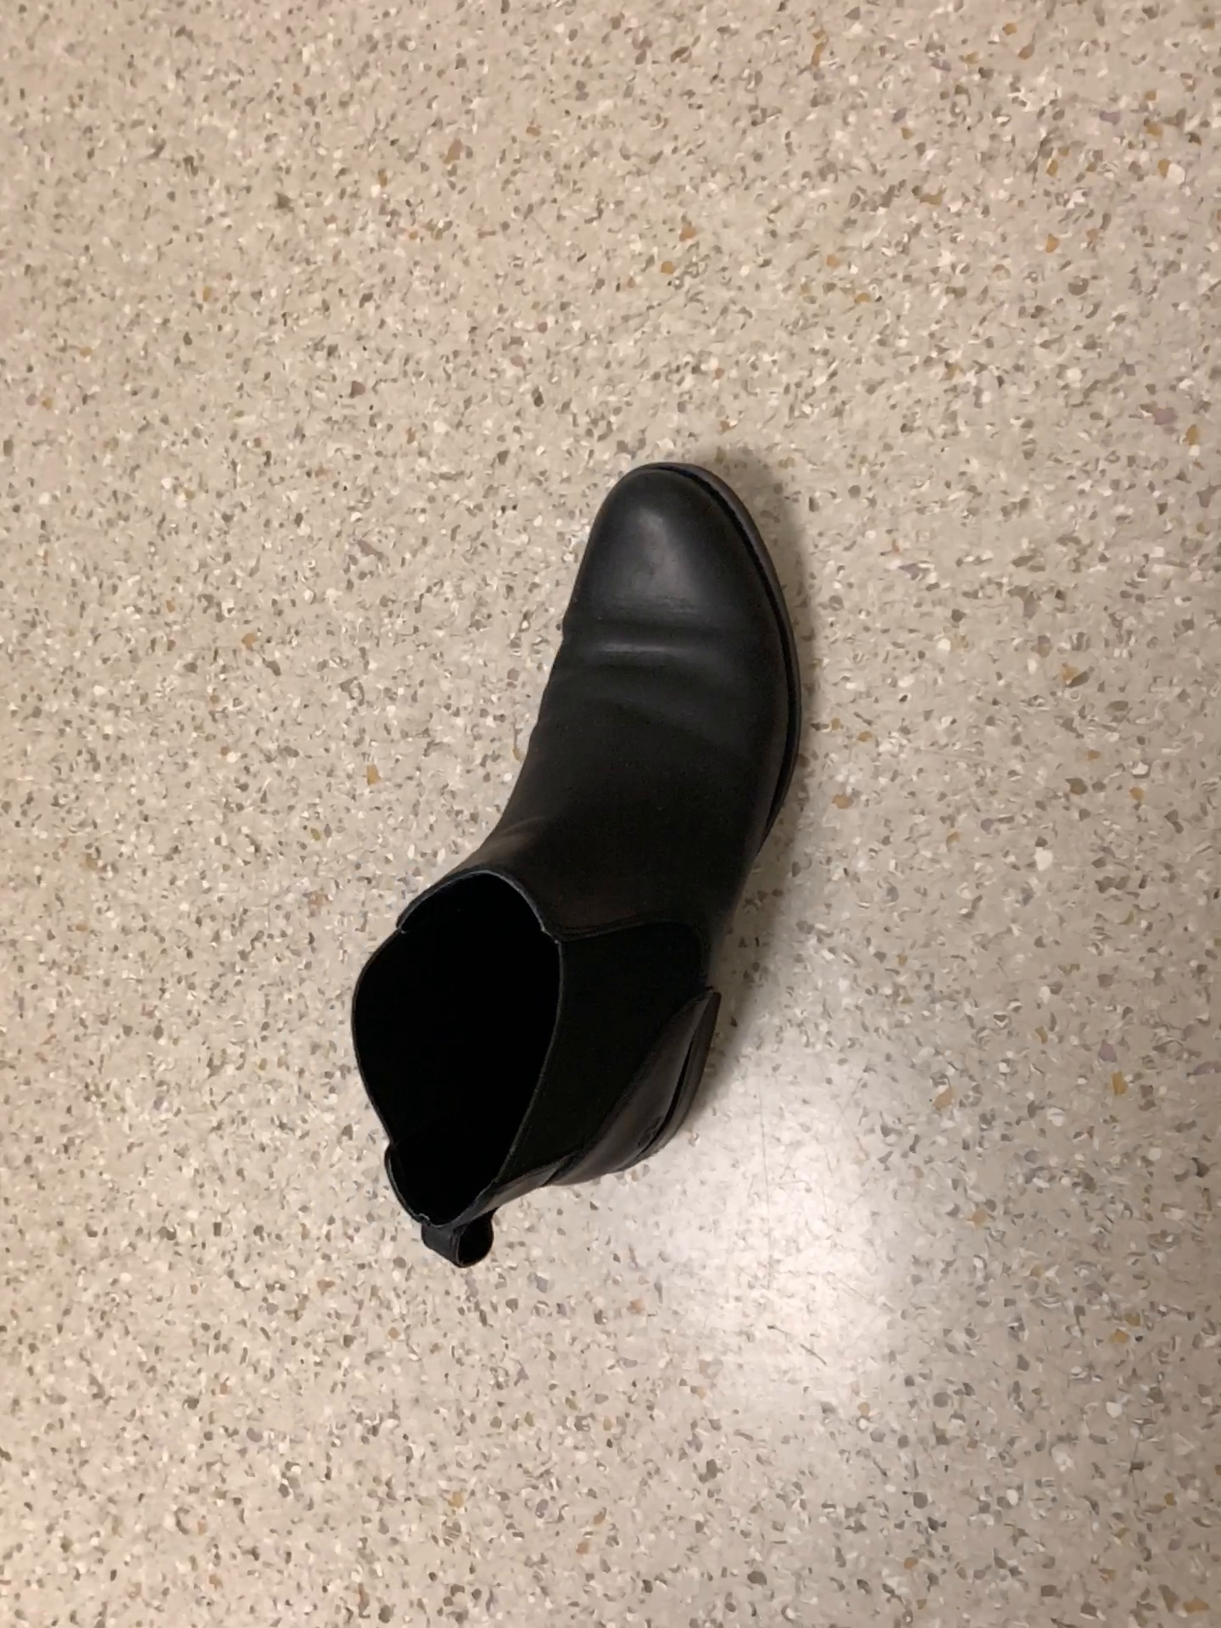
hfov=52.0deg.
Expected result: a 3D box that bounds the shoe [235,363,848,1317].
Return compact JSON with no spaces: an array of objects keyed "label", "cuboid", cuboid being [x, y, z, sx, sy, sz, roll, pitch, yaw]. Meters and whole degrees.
[{"label":"shoe","cuboid":[-0.011,0.005,0.439,0.107,0.164,0.262,11,91,23]}]
